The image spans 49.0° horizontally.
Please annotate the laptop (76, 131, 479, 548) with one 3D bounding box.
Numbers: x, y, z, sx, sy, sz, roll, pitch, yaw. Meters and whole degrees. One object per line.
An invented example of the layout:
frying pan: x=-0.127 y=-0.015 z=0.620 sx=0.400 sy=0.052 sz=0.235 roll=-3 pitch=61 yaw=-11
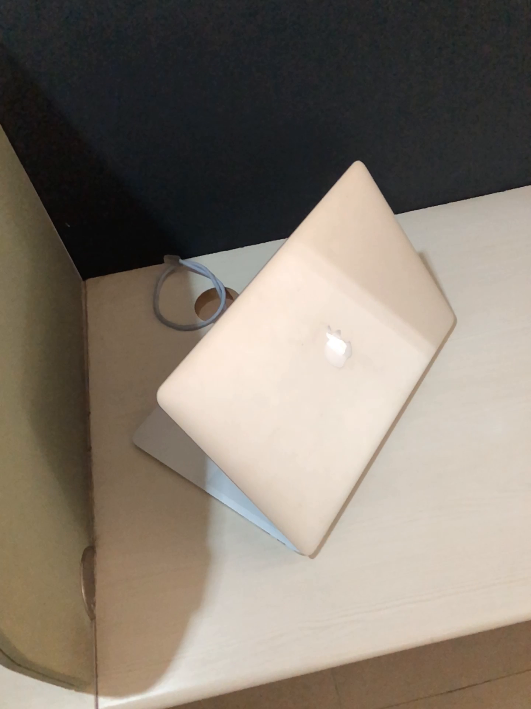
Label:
laptop: x=0.032 y=-0.030 z=0.633 sx=0.235 sy=0.198 sz=0.344 roll=27 pitch=62 yaw=22
